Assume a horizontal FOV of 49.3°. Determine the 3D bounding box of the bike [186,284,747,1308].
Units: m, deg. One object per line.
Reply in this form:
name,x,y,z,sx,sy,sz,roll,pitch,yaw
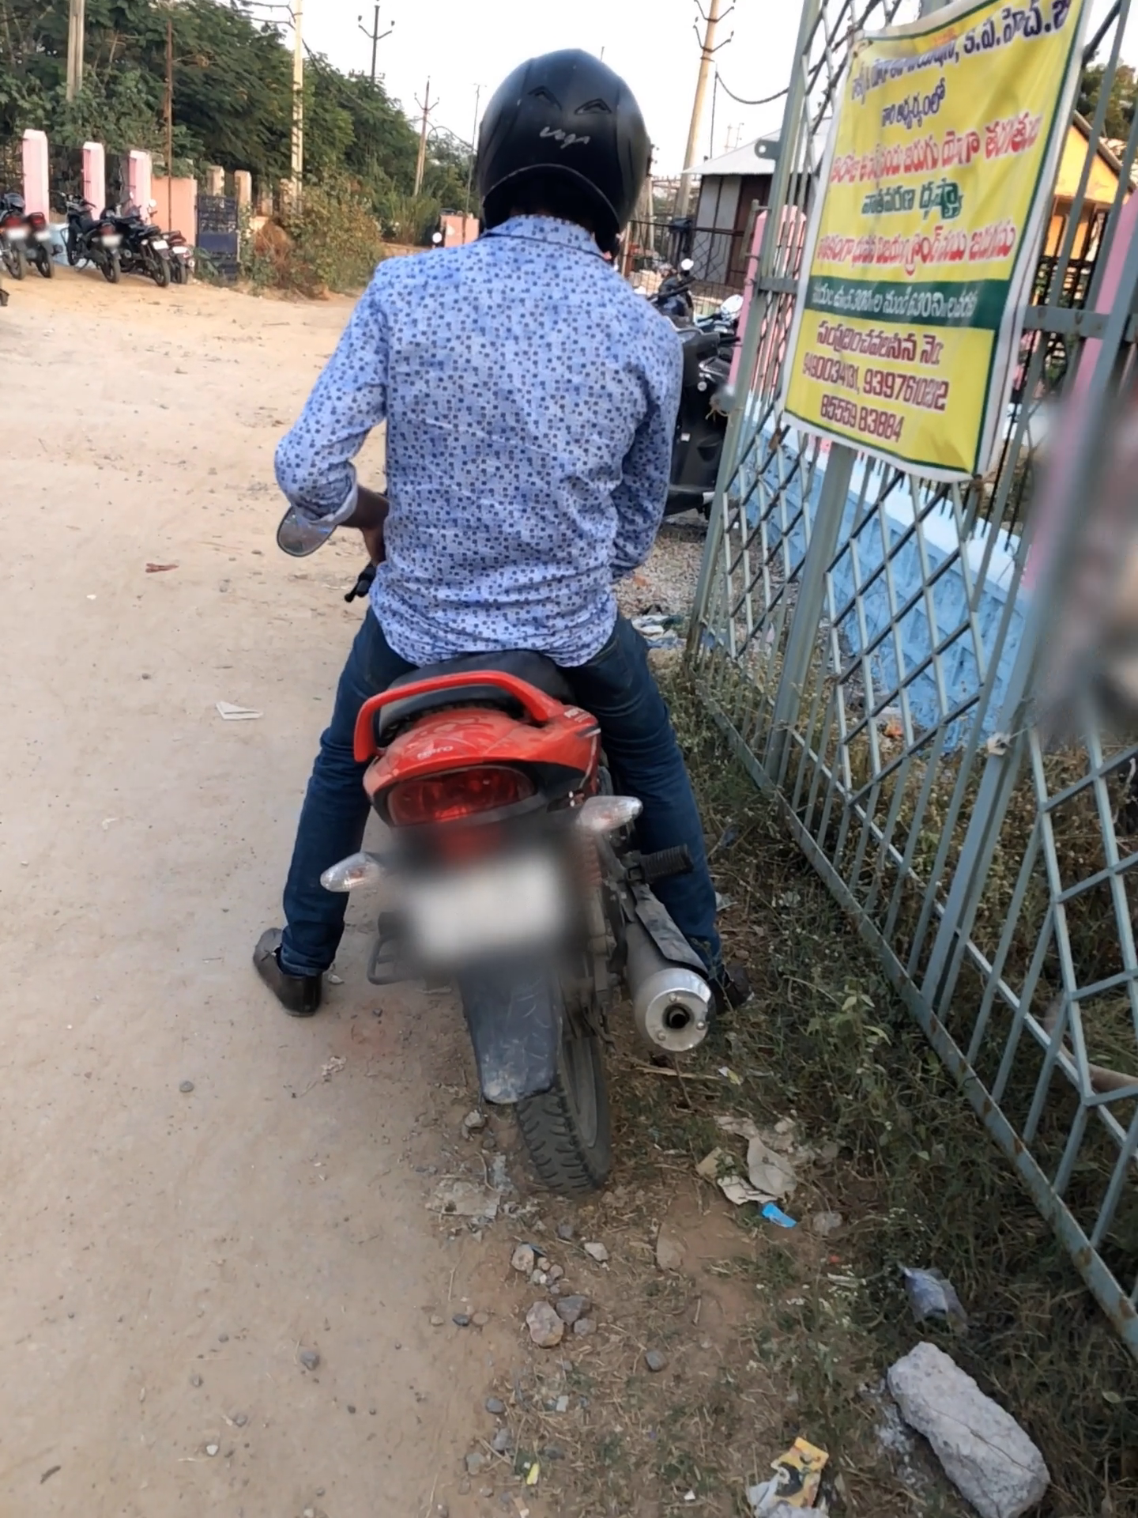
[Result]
bike,-0.321,-0.133,2.291,0.582,1.176,1.697,3,24,-12
